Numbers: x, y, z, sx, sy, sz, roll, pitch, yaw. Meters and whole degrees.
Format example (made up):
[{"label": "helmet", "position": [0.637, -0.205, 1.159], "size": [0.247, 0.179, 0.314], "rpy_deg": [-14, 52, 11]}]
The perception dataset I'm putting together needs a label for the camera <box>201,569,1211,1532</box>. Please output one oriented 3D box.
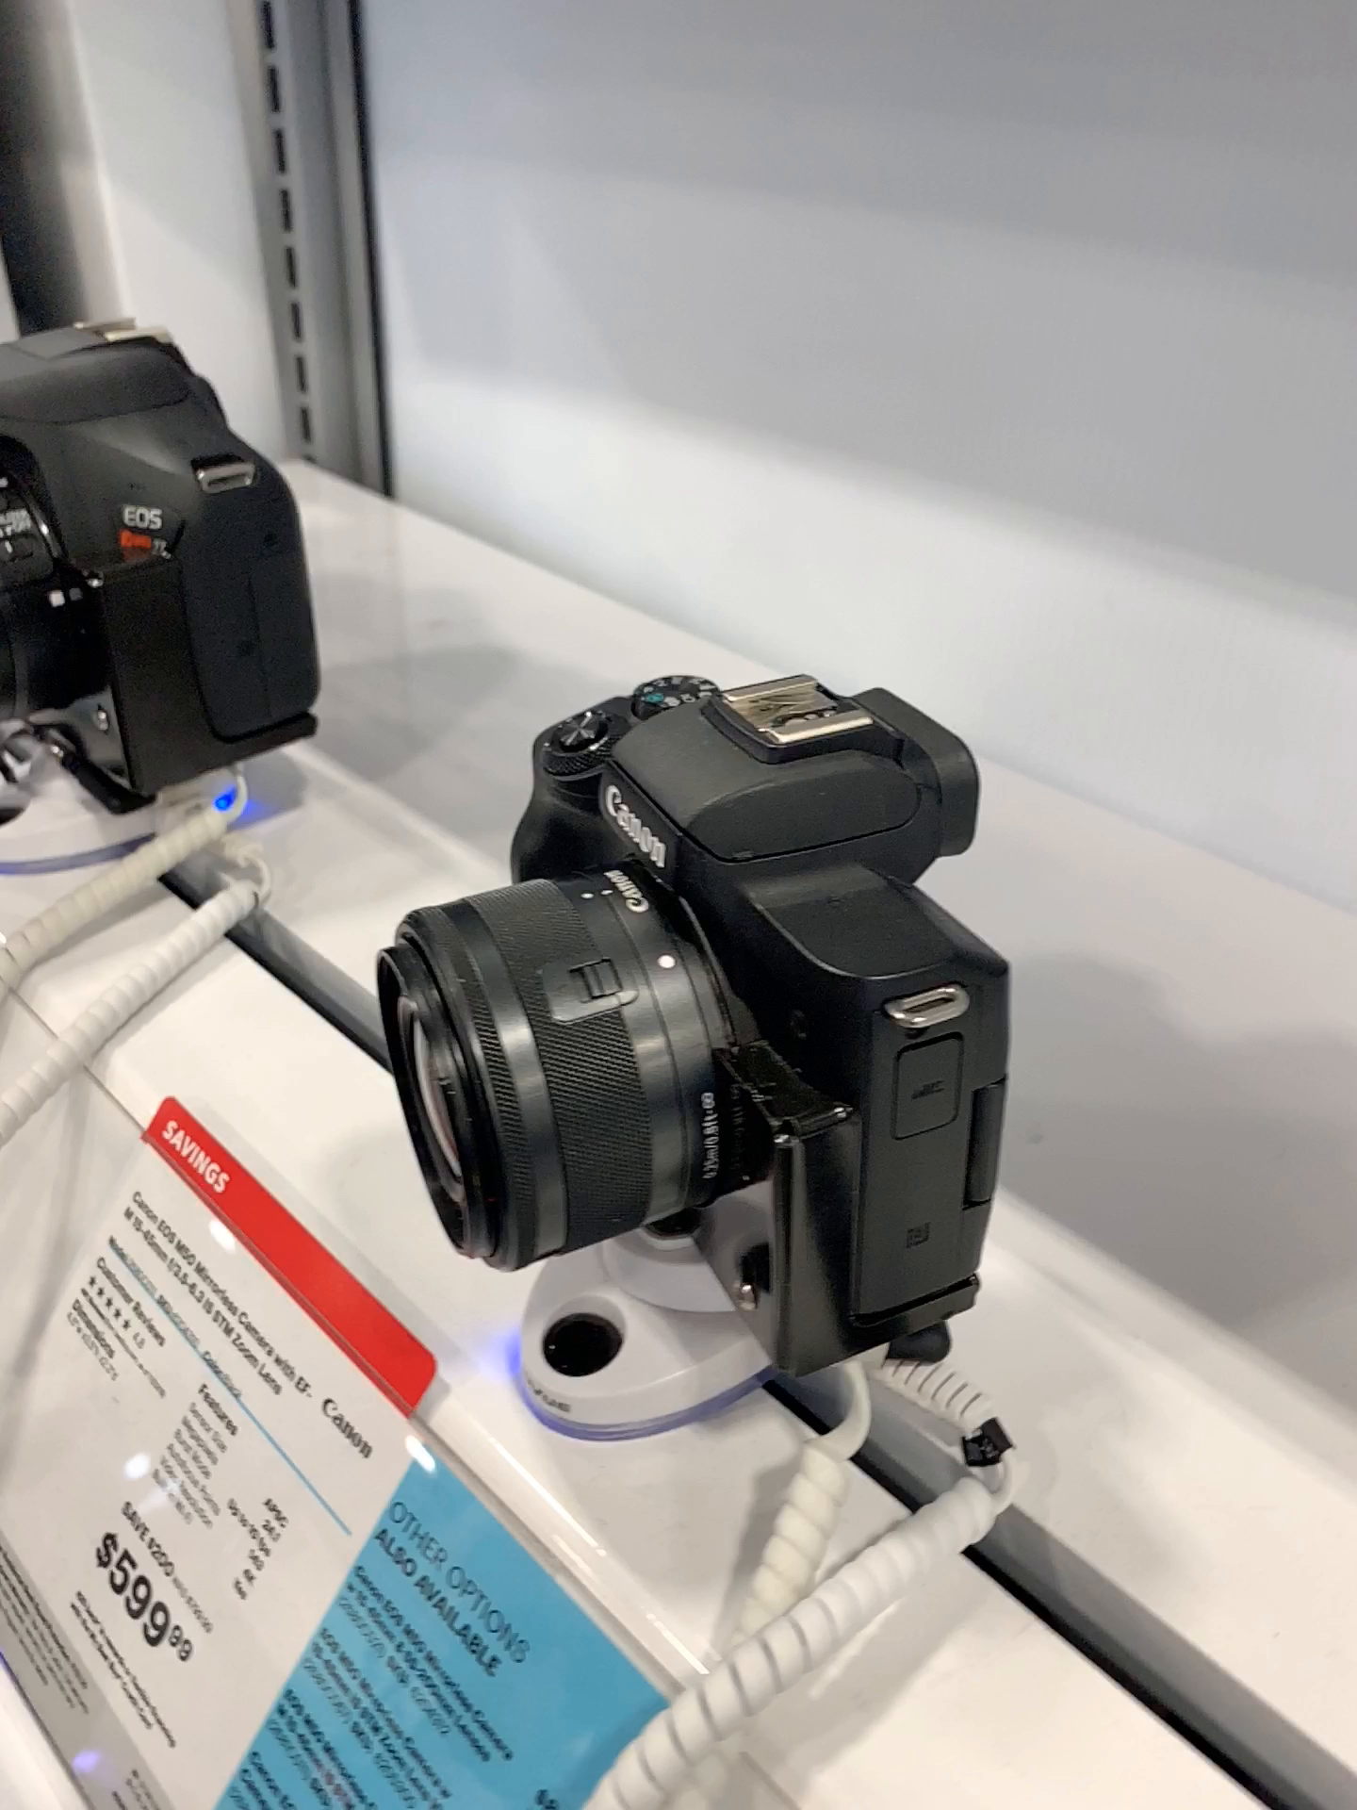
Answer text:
[{"label": "camera", "position": [-0.004, 0.009, 0.239], "size": [0.110, 0.080, 0.121], "rpy_deg": [-16, 37, -24]}]
